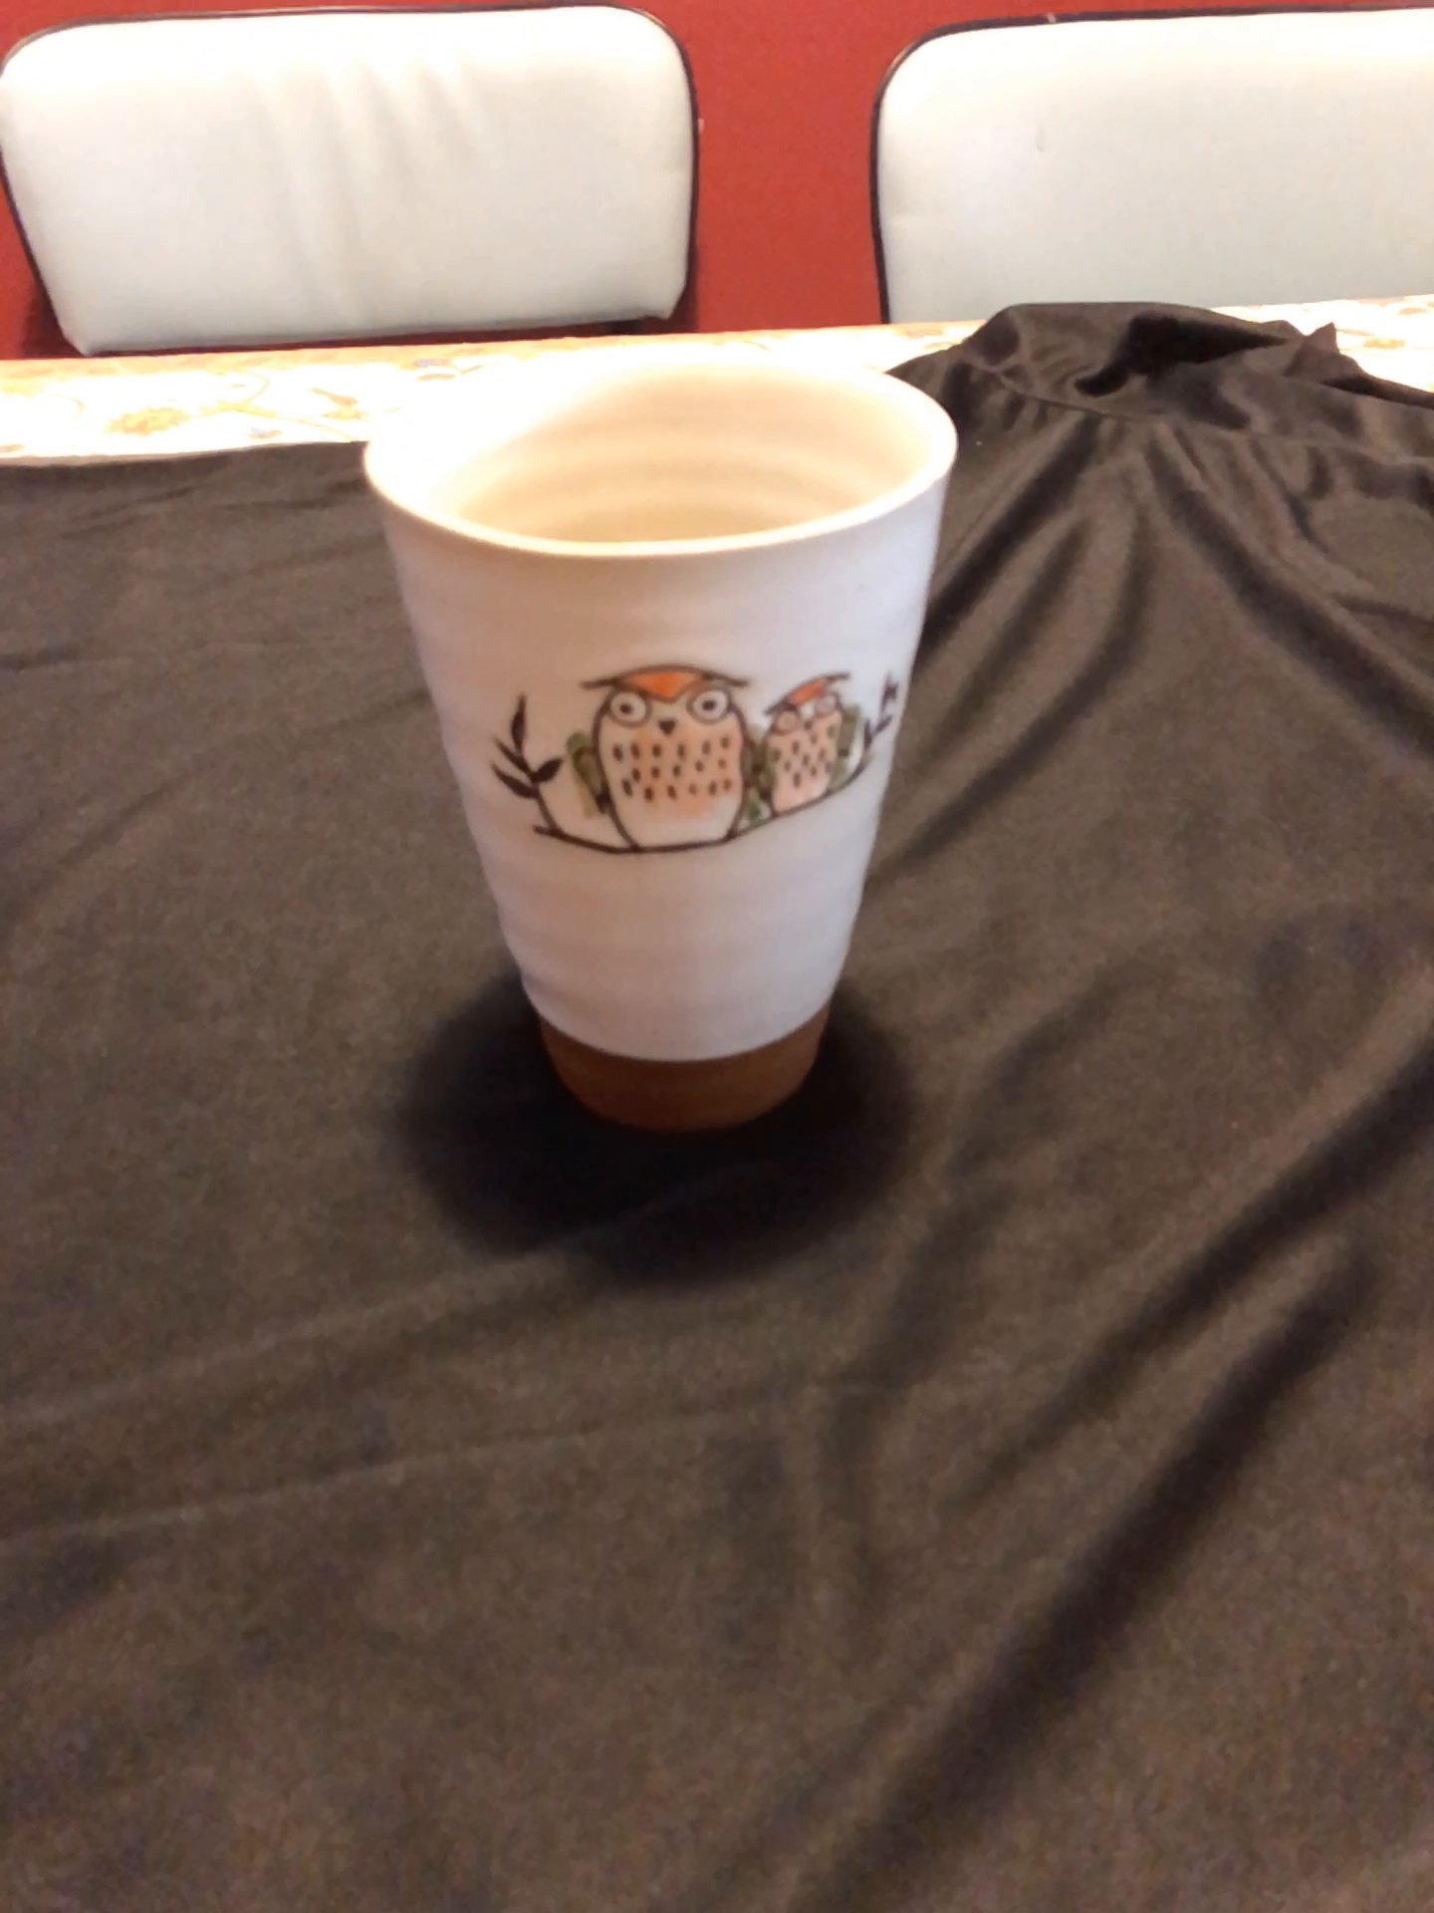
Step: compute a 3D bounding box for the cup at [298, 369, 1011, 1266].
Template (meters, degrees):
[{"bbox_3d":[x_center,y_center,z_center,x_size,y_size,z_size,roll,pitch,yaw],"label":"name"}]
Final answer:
[{"bbox_3d":[0.000,-0.025,0.243,0.080,0.099,0.091,5,37,9],"label":"cup"}]
